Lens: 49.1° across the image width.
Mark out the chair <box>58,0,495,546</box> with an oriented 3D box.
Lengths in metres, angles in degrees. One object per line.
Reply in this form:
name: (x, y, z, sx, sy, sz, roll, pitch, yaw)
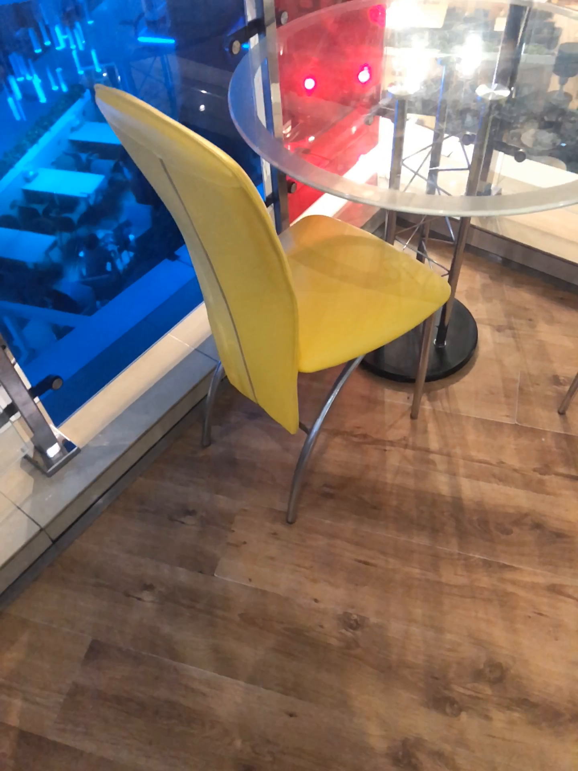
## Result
chair: (0.005, -0.175, 1.287, 0.491, 0.897, 0.431, -38, 58, -24)
